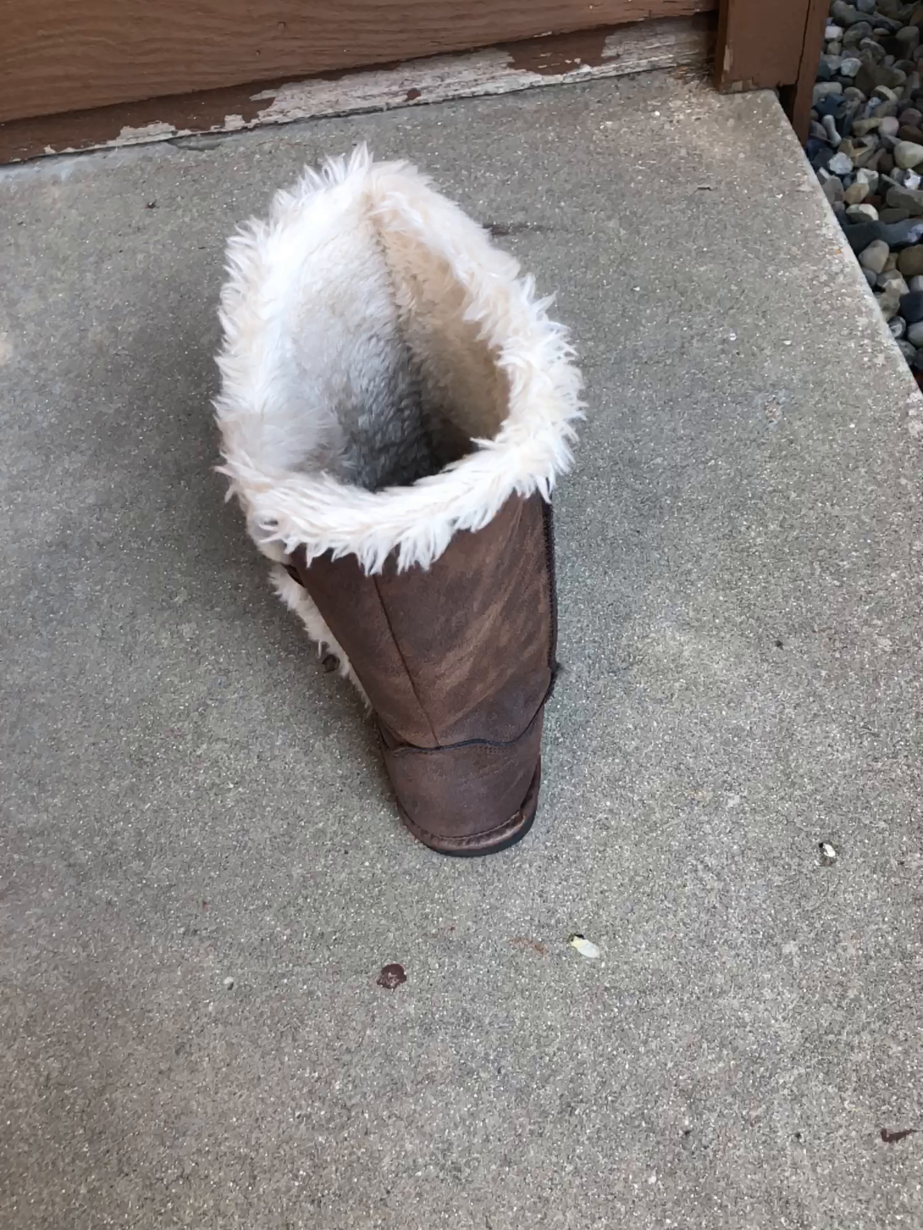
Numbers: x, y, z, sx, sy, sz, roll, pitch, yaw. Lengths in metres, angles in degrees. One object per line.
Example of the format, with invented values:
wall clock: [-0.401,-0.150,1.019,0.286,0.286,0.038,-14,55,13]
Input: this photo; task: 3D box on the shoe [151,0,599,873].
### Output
shoe: [-0.005,-0.067,0.477,0.120,0.320,0.280,-3,59,6]
